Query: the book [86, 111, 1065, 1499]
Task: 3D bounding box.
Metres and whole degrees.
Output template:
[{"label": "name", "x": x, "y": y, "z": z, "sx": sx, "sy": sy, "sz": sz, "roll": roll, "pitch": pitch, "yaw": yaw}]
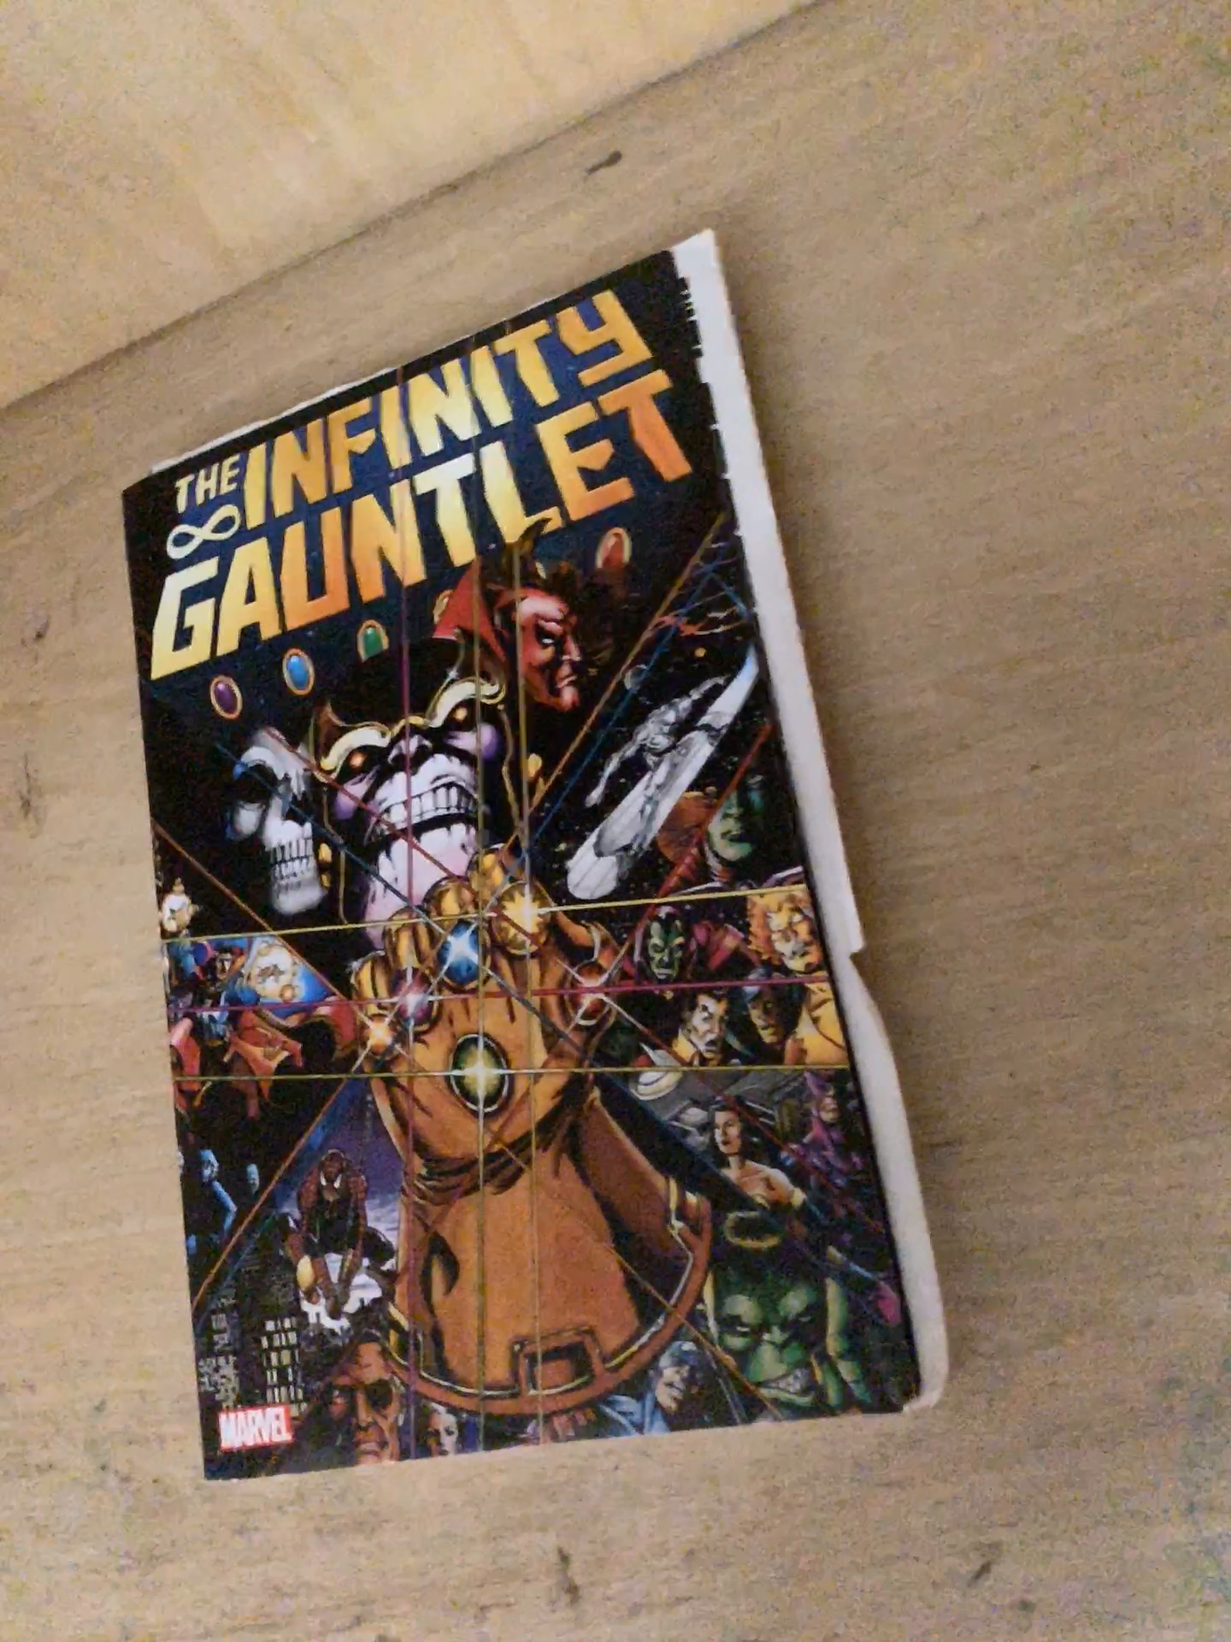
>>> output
[{"label": "book", "x": -0.031, "y": -0.003, "z": 0.292, "sx": 0.190, "sy": 0.030, "sz": 0.271, "roll": -16, "pitch": 73, "yaw": 20}]
